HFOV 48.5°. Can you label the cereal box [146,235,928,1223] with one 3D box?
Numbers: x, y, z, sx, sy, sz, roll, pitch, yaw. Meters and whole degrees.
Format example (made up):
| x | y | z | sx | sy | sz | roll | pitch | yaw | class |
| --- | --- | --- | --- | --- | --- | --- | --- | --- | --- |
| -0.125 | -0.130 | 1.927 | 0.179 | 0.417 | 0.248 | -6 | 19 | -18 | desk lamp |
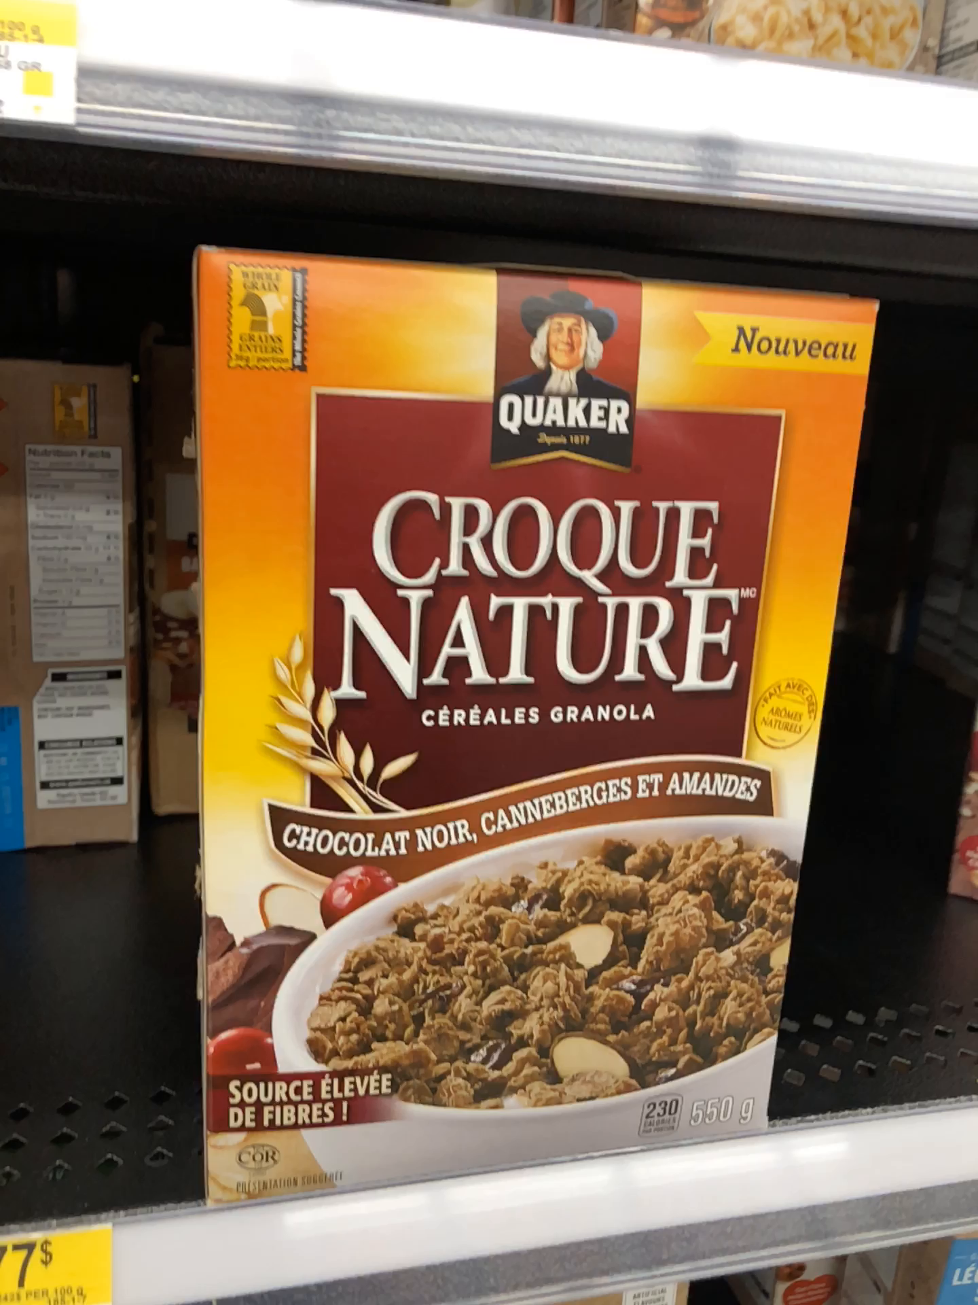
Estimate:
| x | y | z | sx | sy | sz | roll | pitch | yaw | class |
| --- | --- | --- | --- | --- | --- | --- | --- | --- | --- |
| 0.005 | 0.022 | 0.281 | 0.170 | 0.229 | 0.050 | -1 | 17 | -14 | cereal box |
